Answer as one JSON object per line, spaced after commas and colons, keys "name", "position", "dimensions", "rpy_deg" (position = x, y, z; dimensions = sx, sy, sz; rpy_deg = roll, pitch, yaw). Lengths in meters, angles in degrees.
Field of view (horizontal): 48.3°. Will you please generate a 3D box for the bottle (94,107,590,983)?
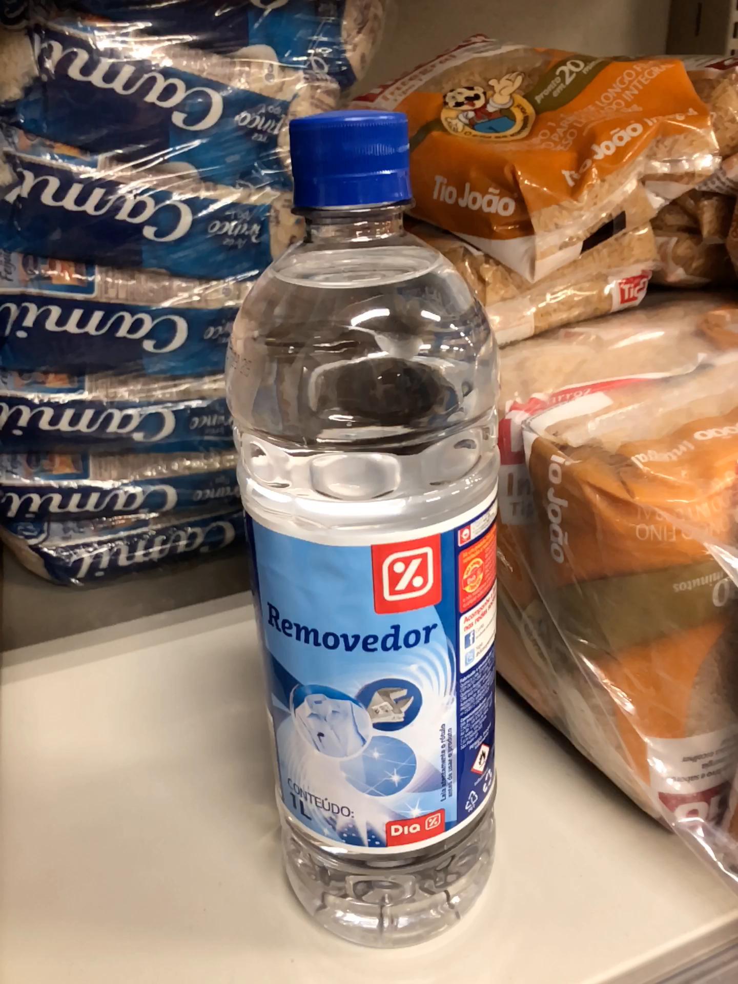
{"name": "bottle", "position": [0.002, 0.026, 0.257], "dimensions": [0.080, 0.258, 0.090], "rpy_deg": [19, 35, 36]}
